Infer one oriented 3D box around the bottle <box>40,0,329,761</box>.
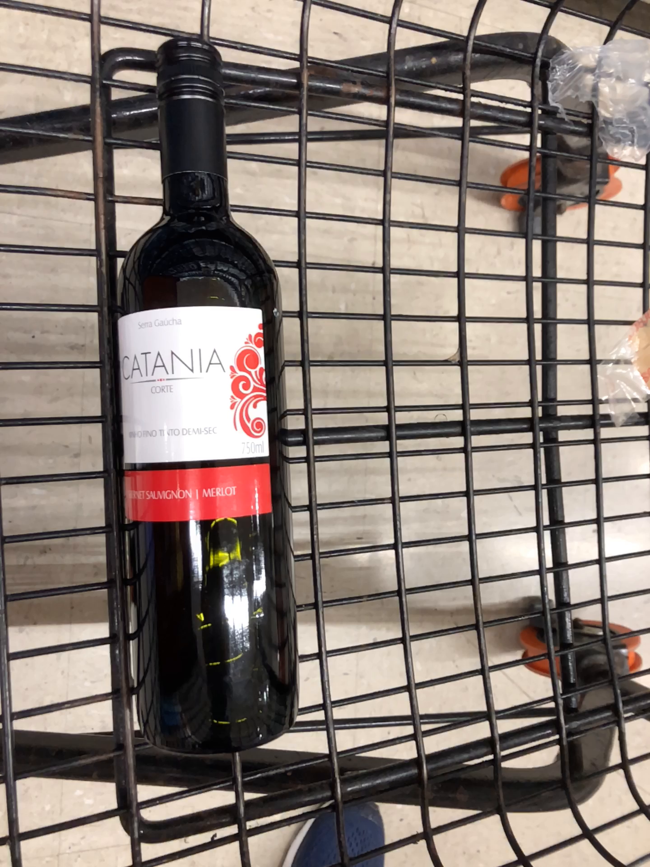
[{"bbox_3d":[-0.056,-0.028,0.311,0.080,0.070,0.300,-3,91,20],"label":"bottle"}]
